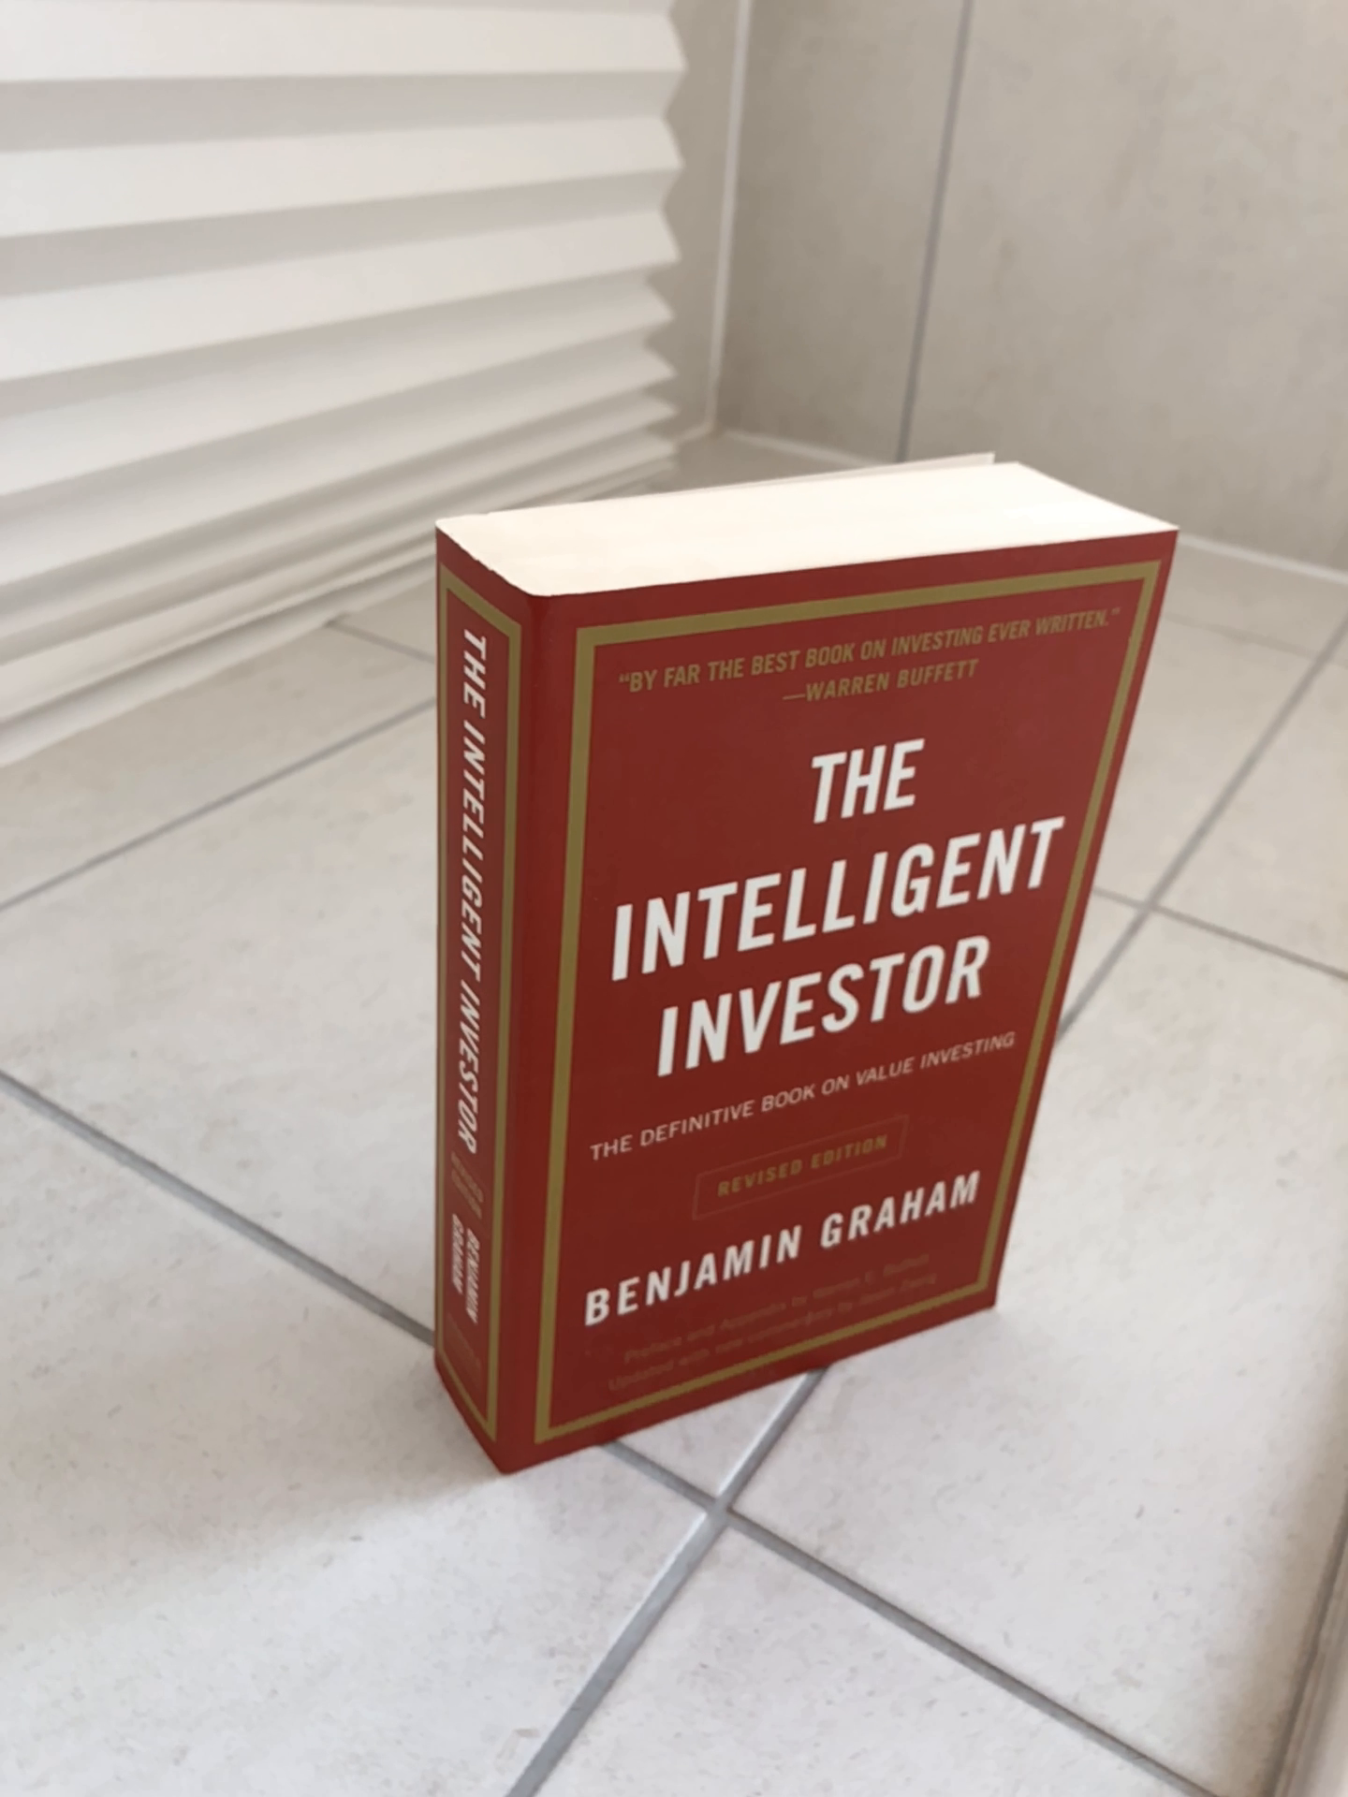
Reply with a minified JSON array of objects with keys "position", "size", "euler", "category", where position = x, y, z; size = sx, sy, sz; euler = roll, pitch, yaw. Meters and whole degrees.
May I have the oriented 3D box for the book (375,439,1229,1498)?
[{"position":[0.019,0.015,0.330],"size":[0.149,0.206,0.057],"euler":[-12,35,-25],"category":"book"}]
